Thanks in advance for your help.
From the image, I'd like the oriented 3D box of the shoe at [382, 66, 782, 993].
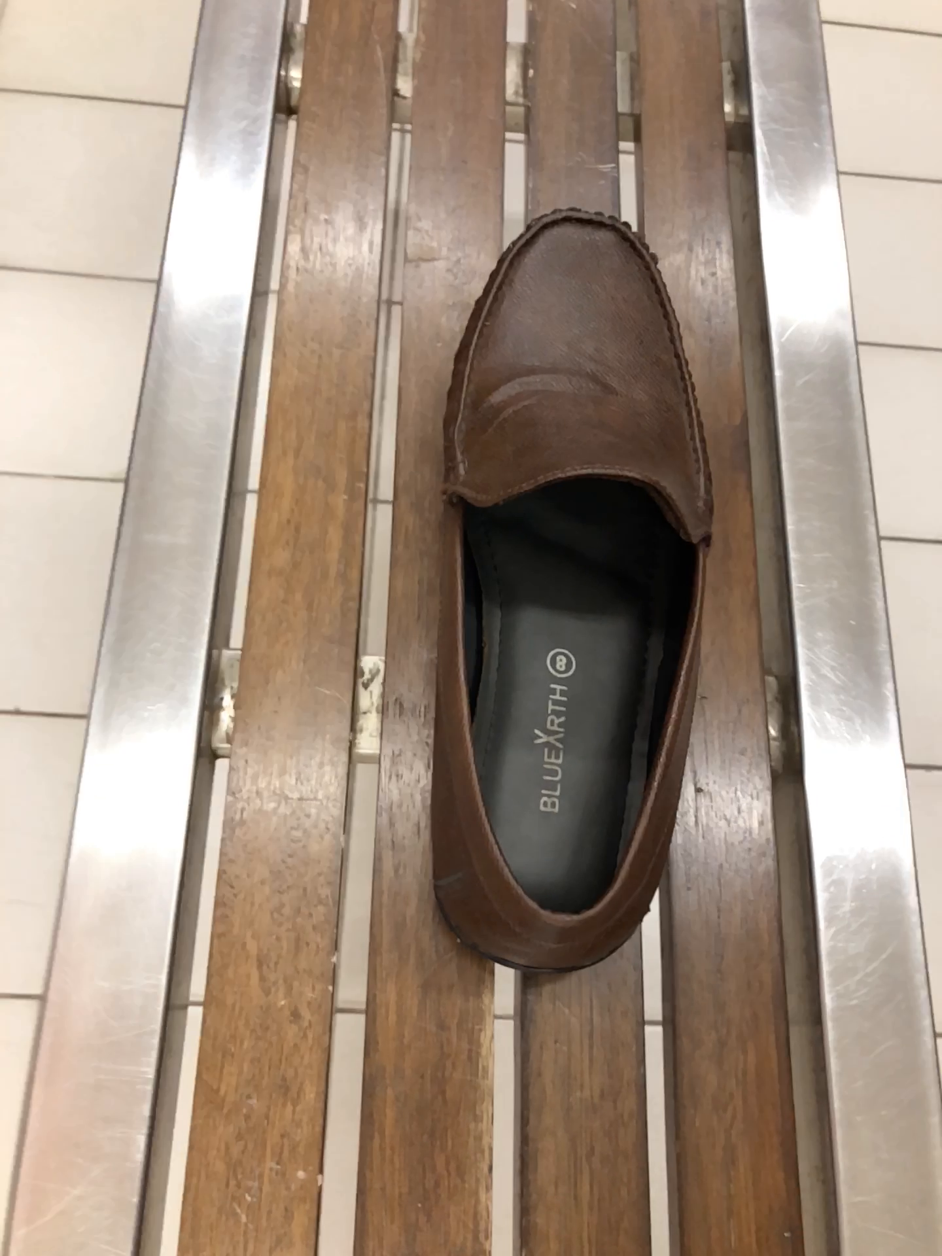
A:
[{"bbox_3d":[0.036,-0.036,0.363,0.104,0.093,0.302,5,70,-3],"label":"shoe"}]
